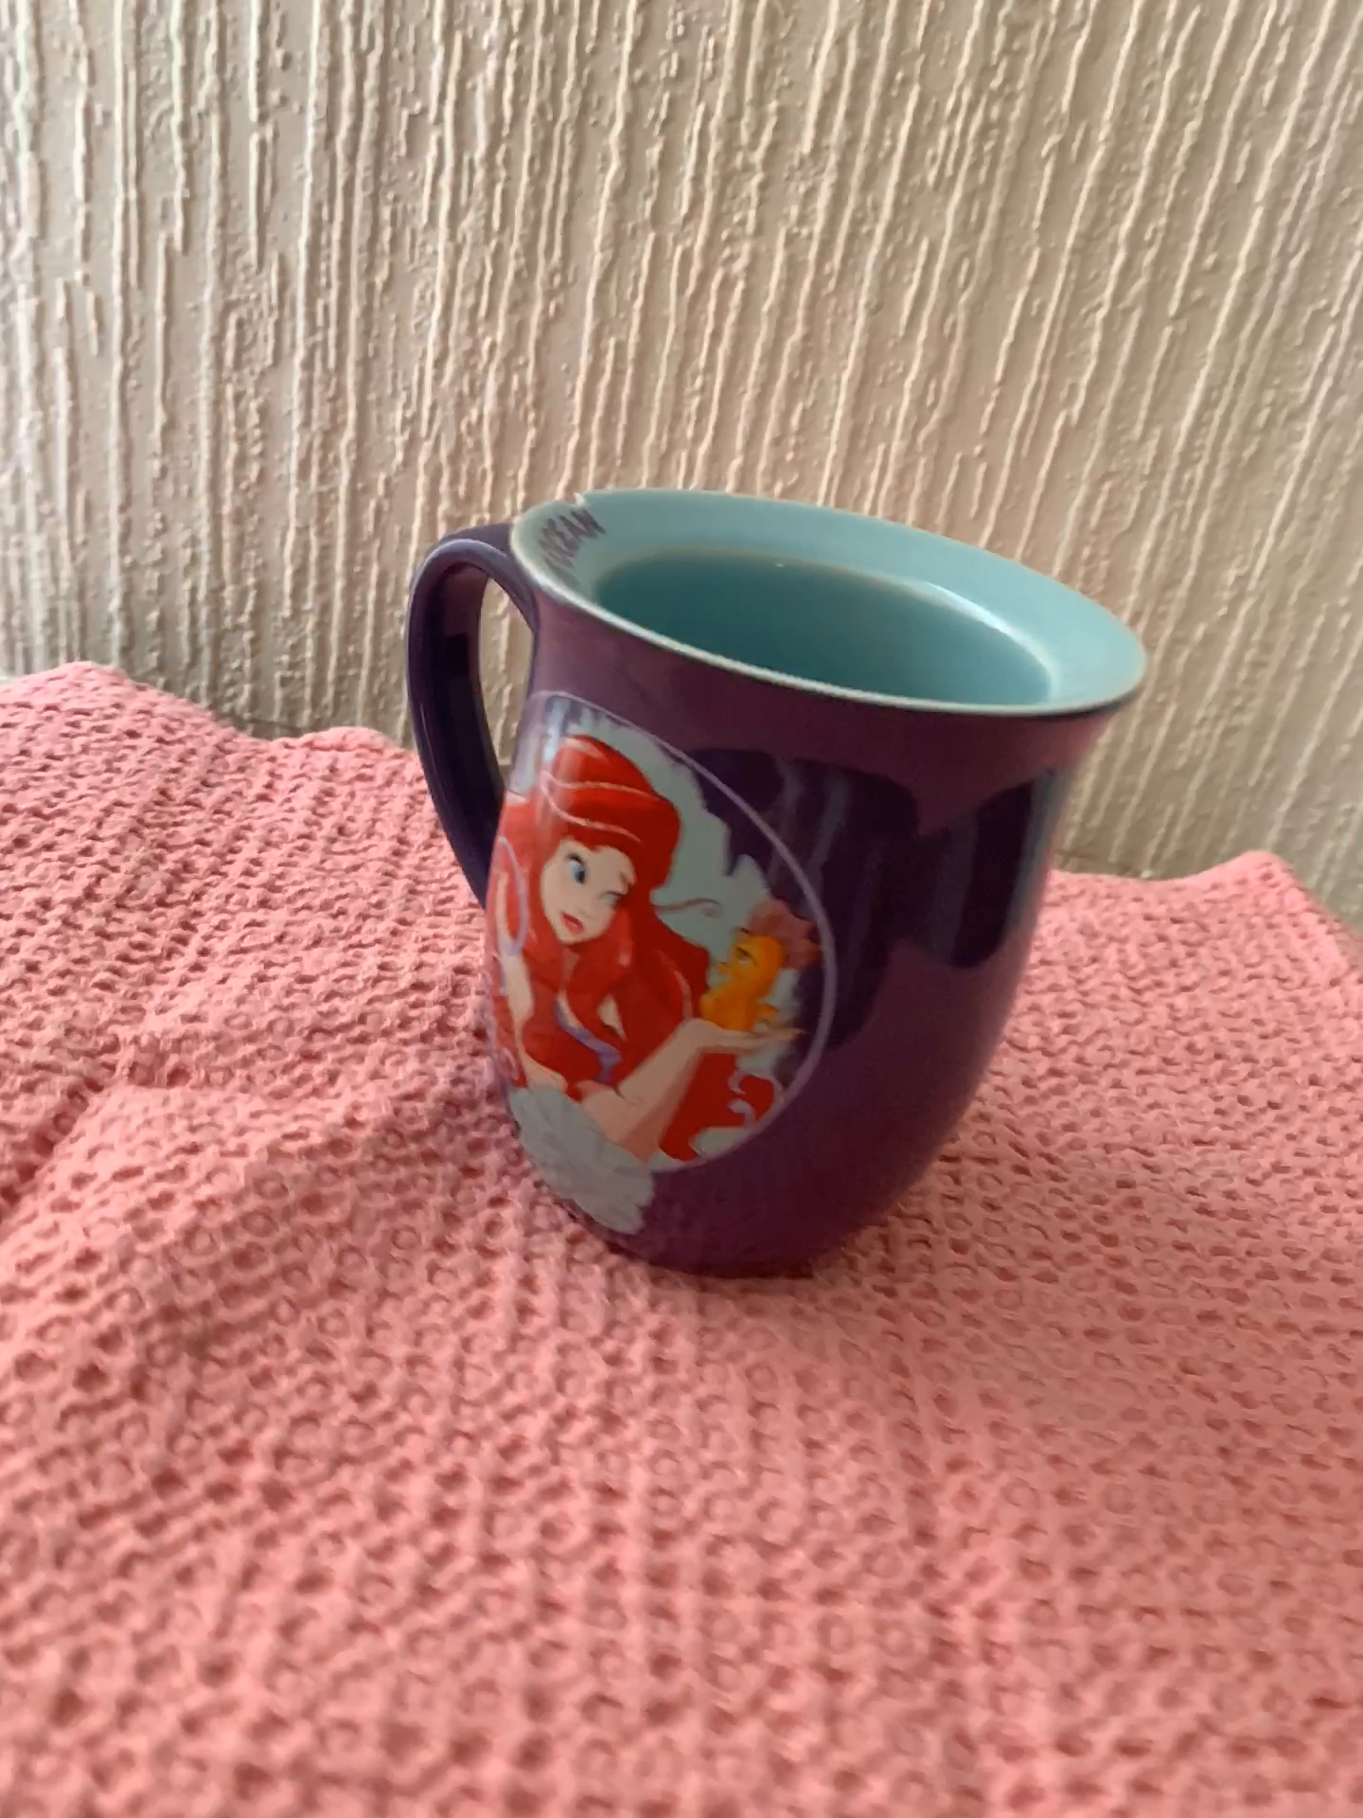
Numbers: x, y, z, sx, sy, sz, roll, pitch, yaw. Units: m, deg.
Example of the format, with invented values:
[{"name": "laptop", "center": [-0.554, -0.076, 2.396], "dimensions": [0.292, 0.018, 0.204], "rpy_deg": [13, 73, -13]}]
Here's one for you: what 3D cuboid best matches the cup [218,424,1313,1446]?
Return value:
[{"name": "cup", "center": [0.005, -0.013, 0.244], "dimensions": [0.140, 0.099, 0.101], "rpy_deg": [31, 34, 31]}]
